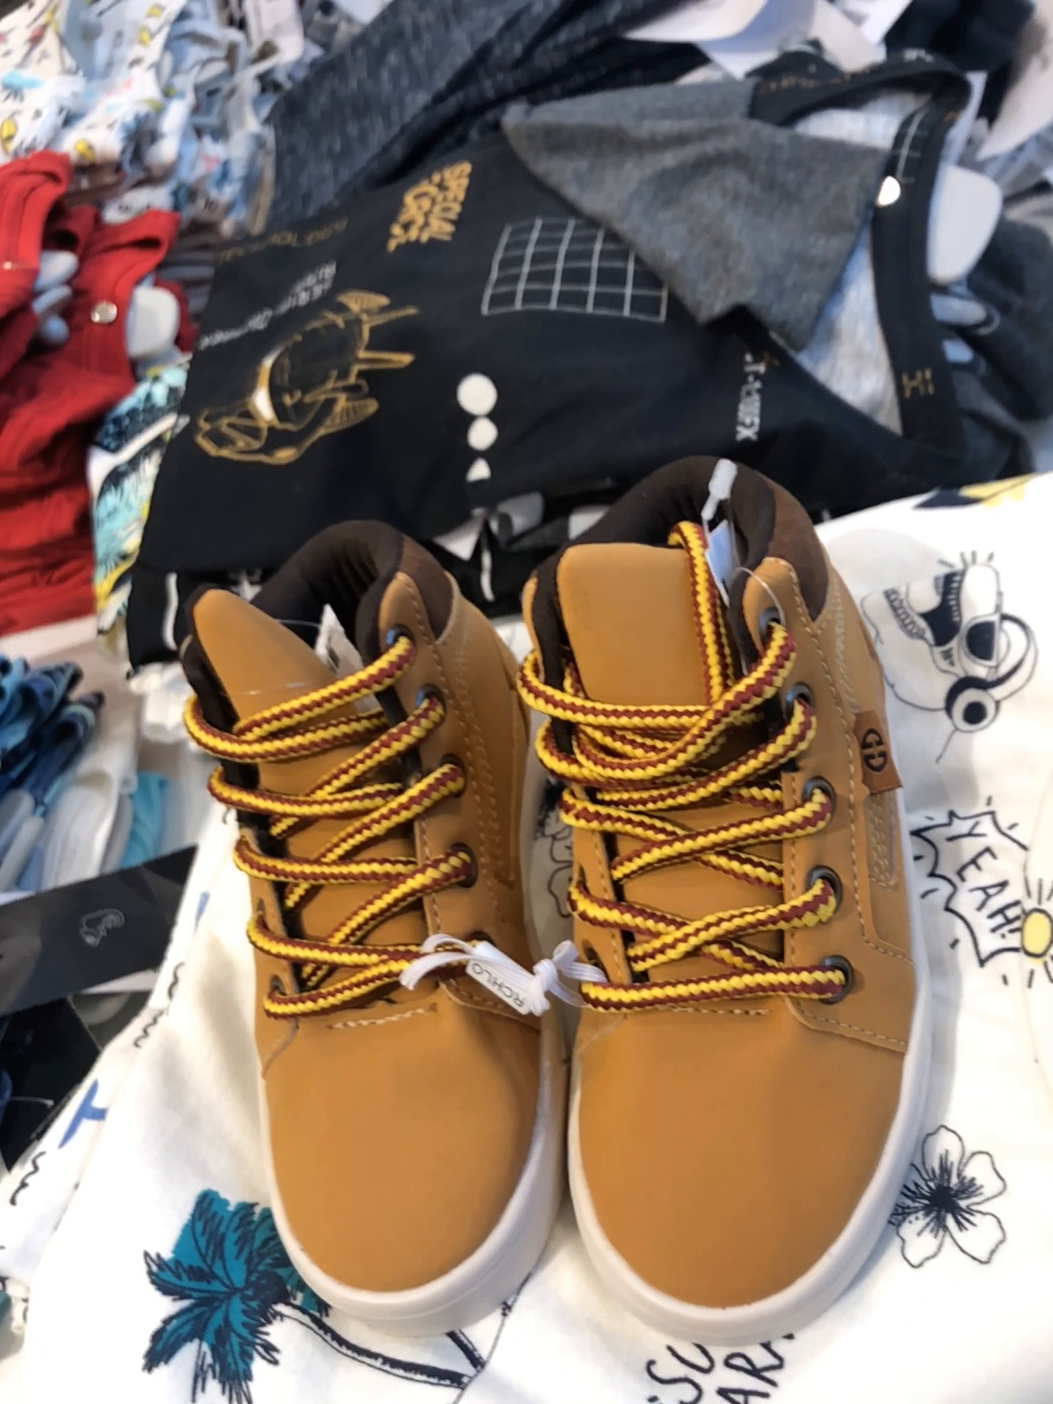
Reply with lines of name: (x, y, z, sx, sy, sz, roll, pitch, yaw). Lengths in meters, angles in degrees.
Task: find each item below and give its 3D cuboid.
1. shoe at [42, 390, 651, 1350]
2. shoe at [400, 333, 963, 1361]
shoe: (-0.024, 0.032, 0.250, 0.070, 0.089, 0.171, -12, 51, 14)
shoe: (0.043, 0.022, 0.235, 0.070, 0.089, 0.171, -4, 52, 20)
